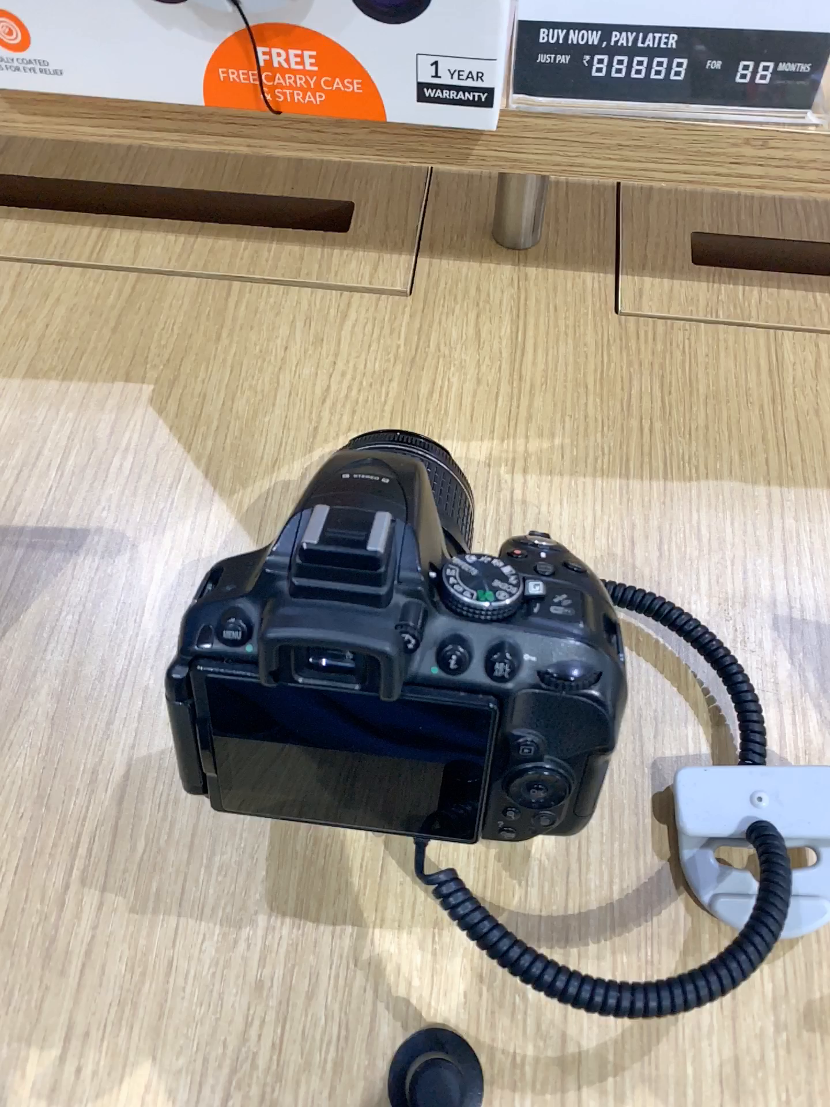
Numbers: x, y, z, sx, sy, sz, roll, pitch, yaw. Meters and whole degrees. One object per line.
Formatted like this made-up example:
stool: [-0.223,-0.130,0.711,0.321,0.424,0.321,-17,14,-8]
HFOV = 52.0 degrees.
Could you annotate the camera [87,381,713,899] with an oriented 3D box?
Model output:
camera: [0.000,0.018,0.243,0.130,0.080,0.110,6,39,3]
